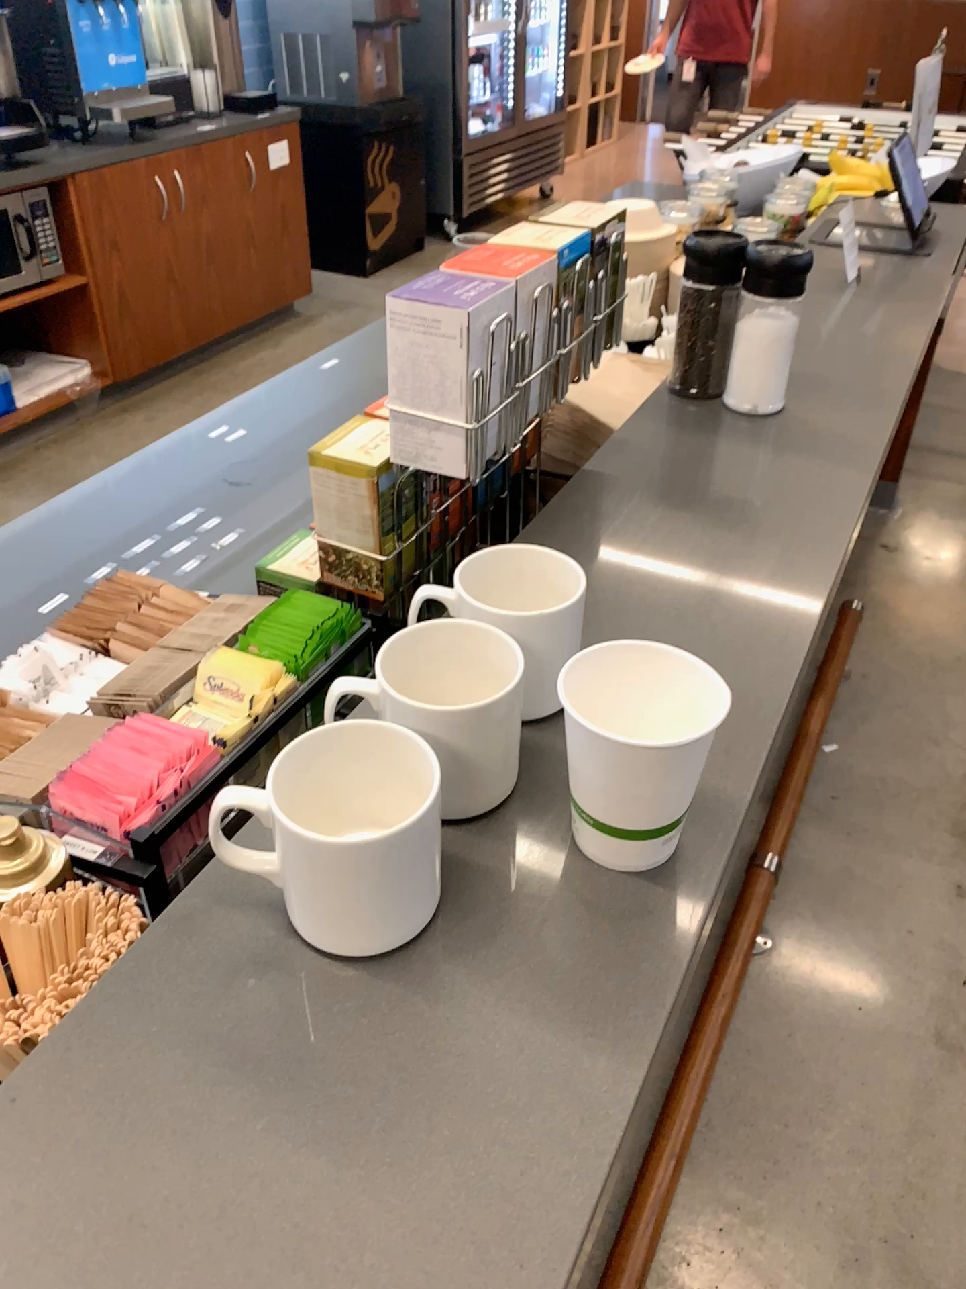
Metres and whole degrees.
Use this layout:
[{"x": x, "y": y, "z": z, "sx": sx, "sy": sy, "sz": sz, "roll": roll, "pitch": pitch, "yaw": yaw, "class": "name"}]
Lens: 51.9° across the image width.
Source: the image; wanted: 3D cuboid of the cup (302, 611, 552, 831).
[{"x": -0.031, "y": 0.042, "z": 0.581, "sx": 0.130, "sy": 0.080, "sz": 0.101, "roll": -1, "pitch": 36, "yaw": -2, "class": "cup"}]

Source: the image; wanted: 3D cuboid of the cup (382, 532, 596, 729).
[{"x": 0.003, "y": -0.011, "z": 0.669, "sx": 0.130, "sy": 0.089, "sz": 0.101, "roll": 1, "pitch": 36, "yaw": 0, "class": "cup"}]

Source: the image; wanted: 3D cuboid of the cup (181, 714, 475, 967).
[{"x": -0.072, "y": 0.097, "z": 0.502, "sx": 0.130, "sy": 0.080, "sz": 0.091, "roll": -2, "pitch": 36, "yaw": -3, "class": "cup"}]

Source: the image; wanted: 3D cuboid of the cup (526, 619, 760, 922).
[{"x": 0.085, "y": 0.066, "z": 0.541, "sx": 0.090, "sy": 0.109, "sz": 0.090, "roll": 1, "pitch": 36, "yaw": 0, "class": "cup"}]
